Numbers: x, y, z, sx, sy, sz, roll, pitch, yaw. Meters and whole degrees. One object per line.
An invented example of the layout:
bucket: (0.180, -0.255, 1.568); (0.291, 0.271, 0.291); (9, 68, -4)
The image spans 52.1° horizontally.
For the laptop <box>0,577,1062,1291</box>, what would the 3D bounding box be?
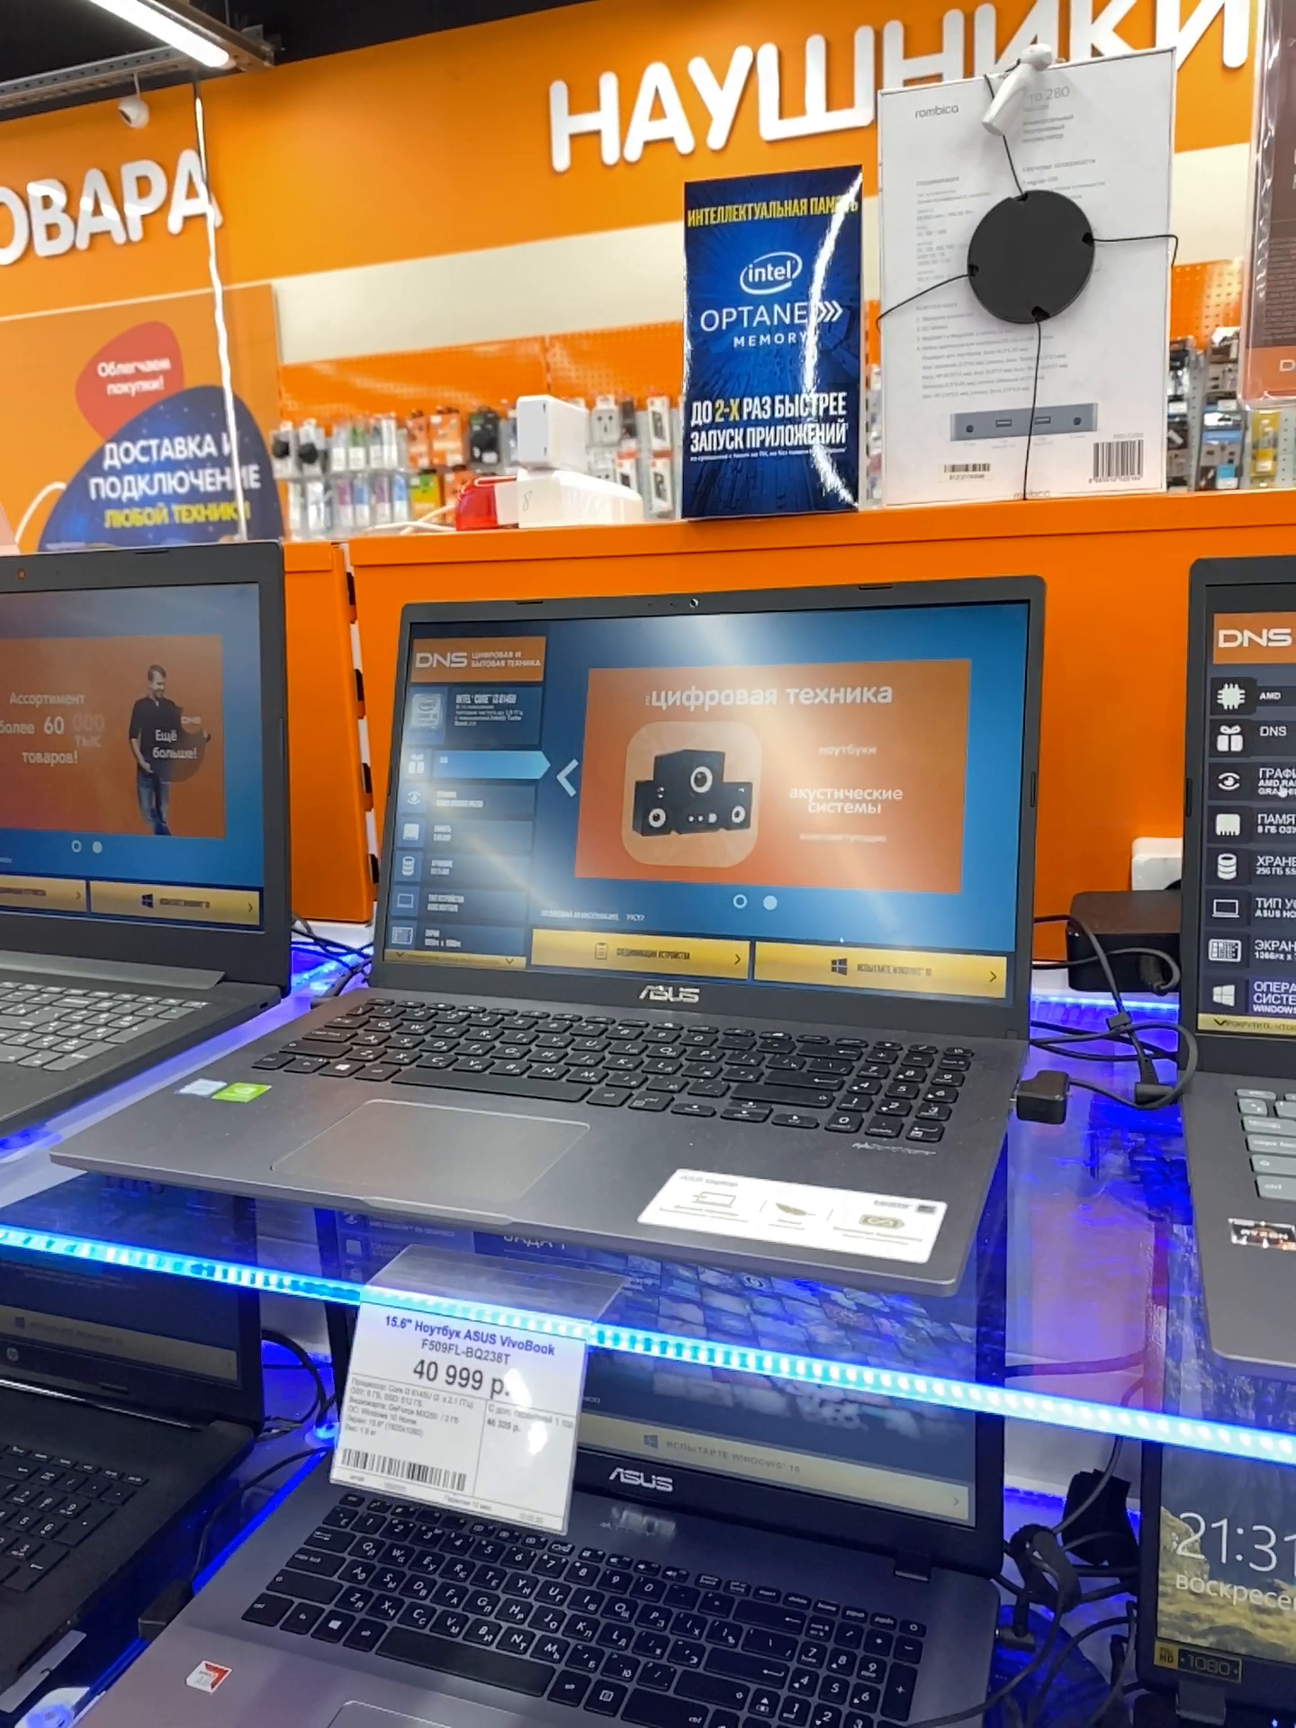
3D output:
laptop: (-0.017, -0.012, 0.588); (0.357, 0.211, 0.307); (2, 12, 21)
